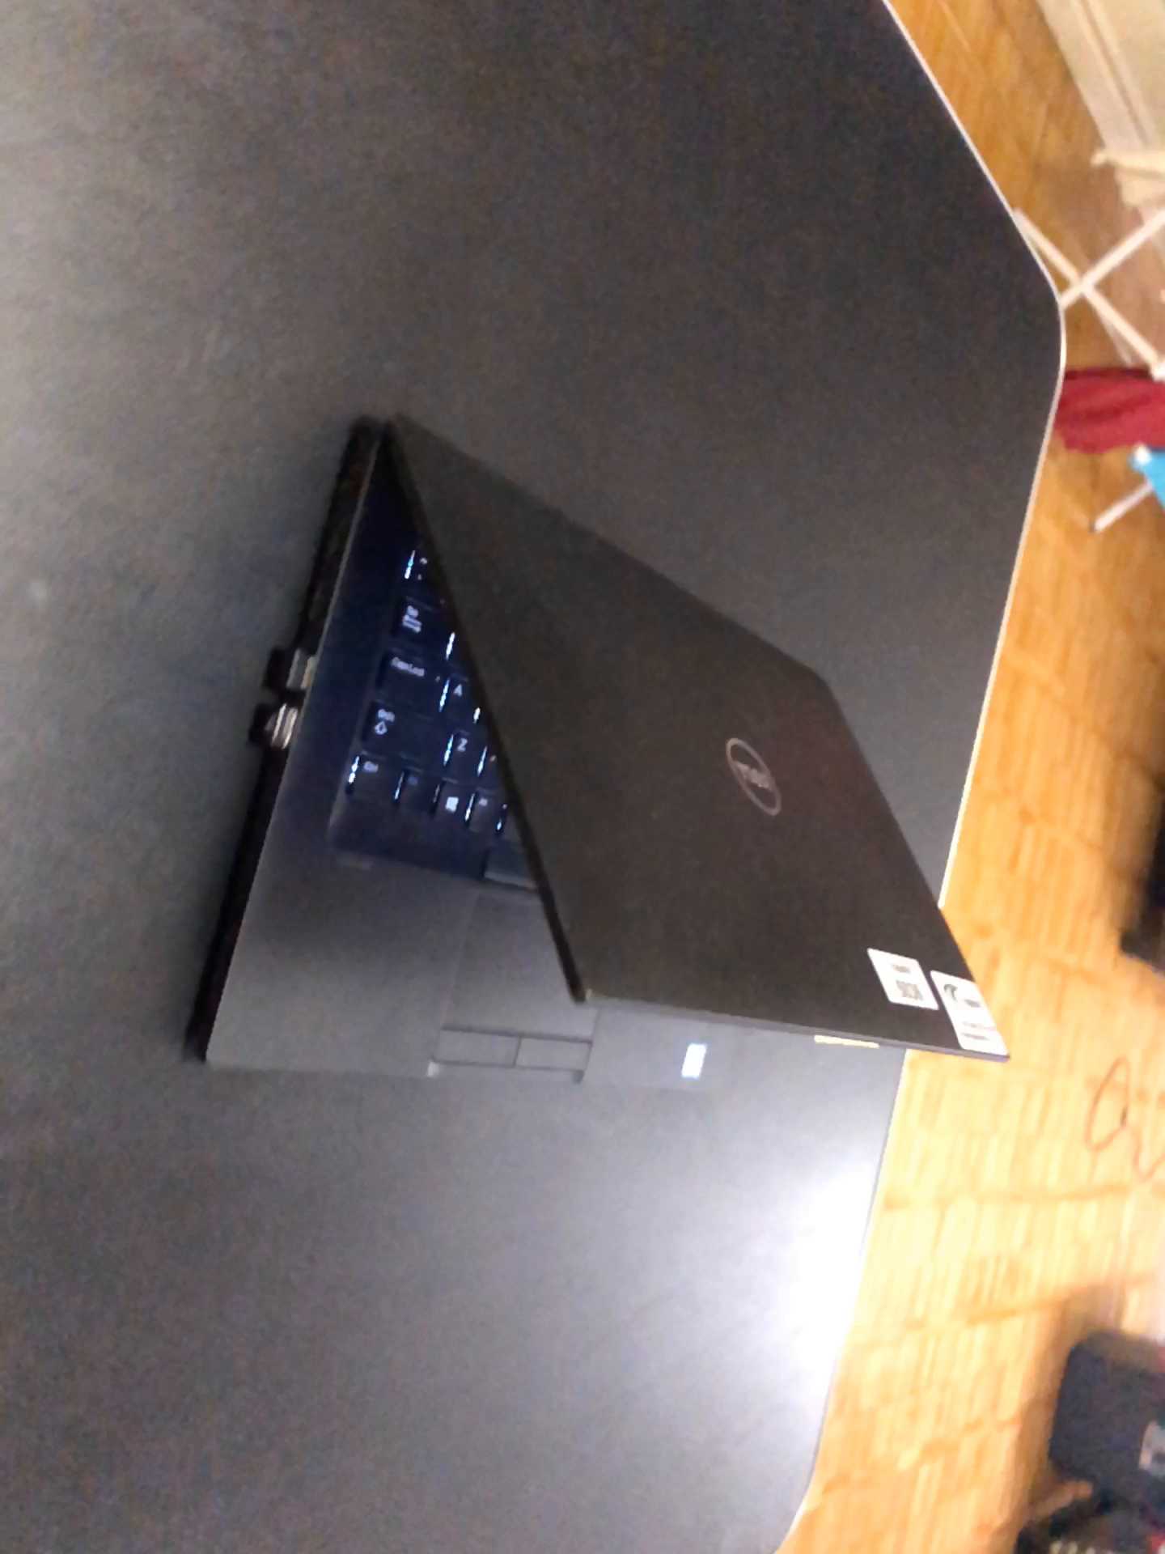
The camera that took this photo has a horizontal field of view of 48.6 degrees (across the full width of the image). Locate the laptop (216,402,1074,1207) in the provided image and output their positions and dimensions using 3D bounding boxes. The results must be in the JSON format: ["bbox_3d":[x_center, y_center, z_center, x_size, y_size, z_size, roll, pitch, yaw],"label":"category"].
[{"bbox_3d":[0.053,0.034,0.511,0.320,0.142,0.220,20,81,-50],"label":"laptop"}]
